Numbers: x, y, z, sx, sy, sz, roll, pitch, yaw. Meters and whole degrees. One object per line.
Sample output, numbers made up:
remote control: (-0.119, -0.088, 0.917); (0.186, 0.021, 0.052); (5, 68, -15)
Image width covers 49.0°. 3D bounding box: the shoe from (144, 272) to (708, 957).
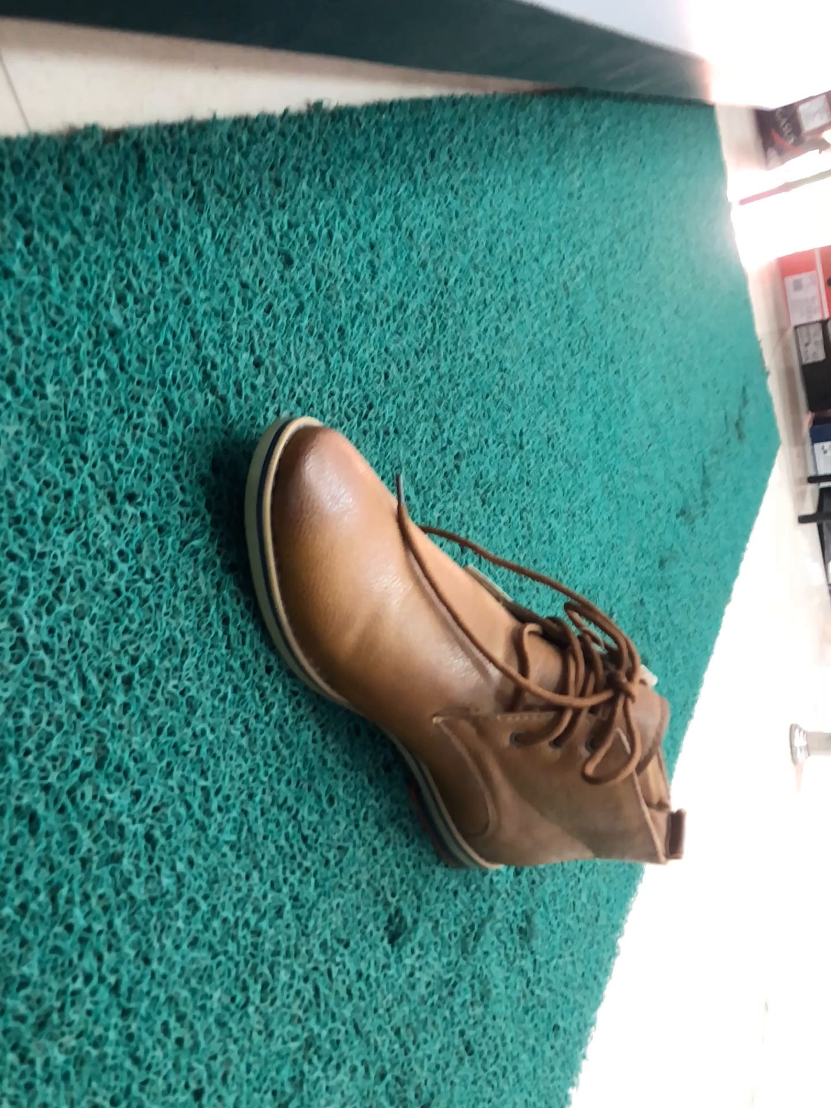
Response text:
shoe: (0.036, 0.051, 0.422); (0.311, 0.109, 0.120); (59, 38, -34)
